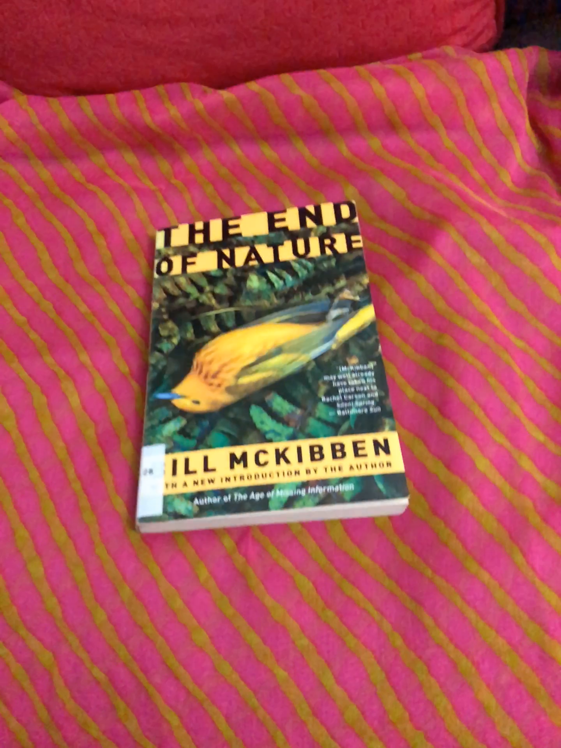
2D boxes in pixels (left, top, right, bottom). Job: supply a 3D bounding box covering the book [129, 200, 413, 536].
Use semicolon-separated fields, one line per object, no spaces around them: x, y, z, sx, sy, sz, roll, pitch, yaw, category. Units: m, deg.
-0.011;-0.014;0.346;0.131;0.020;0.194;-5;59;1;book
